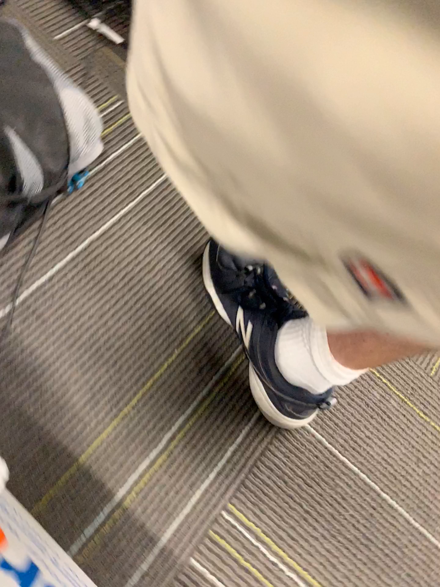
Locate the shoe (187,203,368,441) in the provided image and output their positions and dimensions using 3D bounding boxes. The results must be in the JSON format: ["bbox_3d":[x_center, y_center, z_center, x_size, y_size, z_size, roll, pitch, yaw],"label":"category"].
[{"bbox_3d":[0.071,0.035,0.624,0.120,0.077,0.296,-18,77,-21],"label":"shoe"}]

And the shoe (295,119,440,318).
[{"bbox_3d":[0.250,-0.084,0.632,0.129,0.293,0.122,-23,80,-24],"label":"shoe"}]
